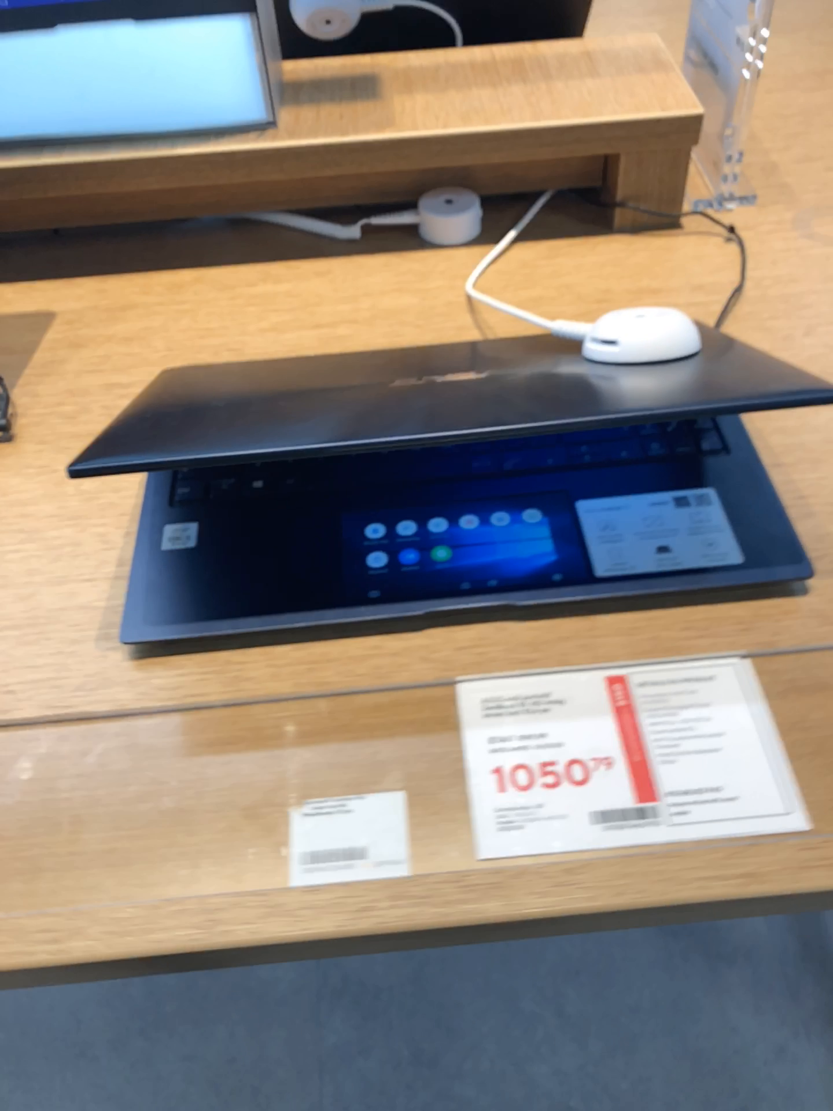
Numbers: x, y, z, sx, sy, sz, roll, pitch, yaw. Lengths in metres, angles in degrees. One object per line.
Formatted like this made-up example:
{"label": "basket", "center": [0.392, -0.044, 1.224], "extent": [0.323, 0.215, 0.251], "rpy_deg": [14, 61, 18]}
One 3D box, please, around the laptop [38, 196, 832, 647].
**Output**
{"label": "laptop", "center": [0.015, -0.082, 0.496], "extent": [0.352, 0.098, 0.209], "rpy_deg": [-5, 48, -2]}
